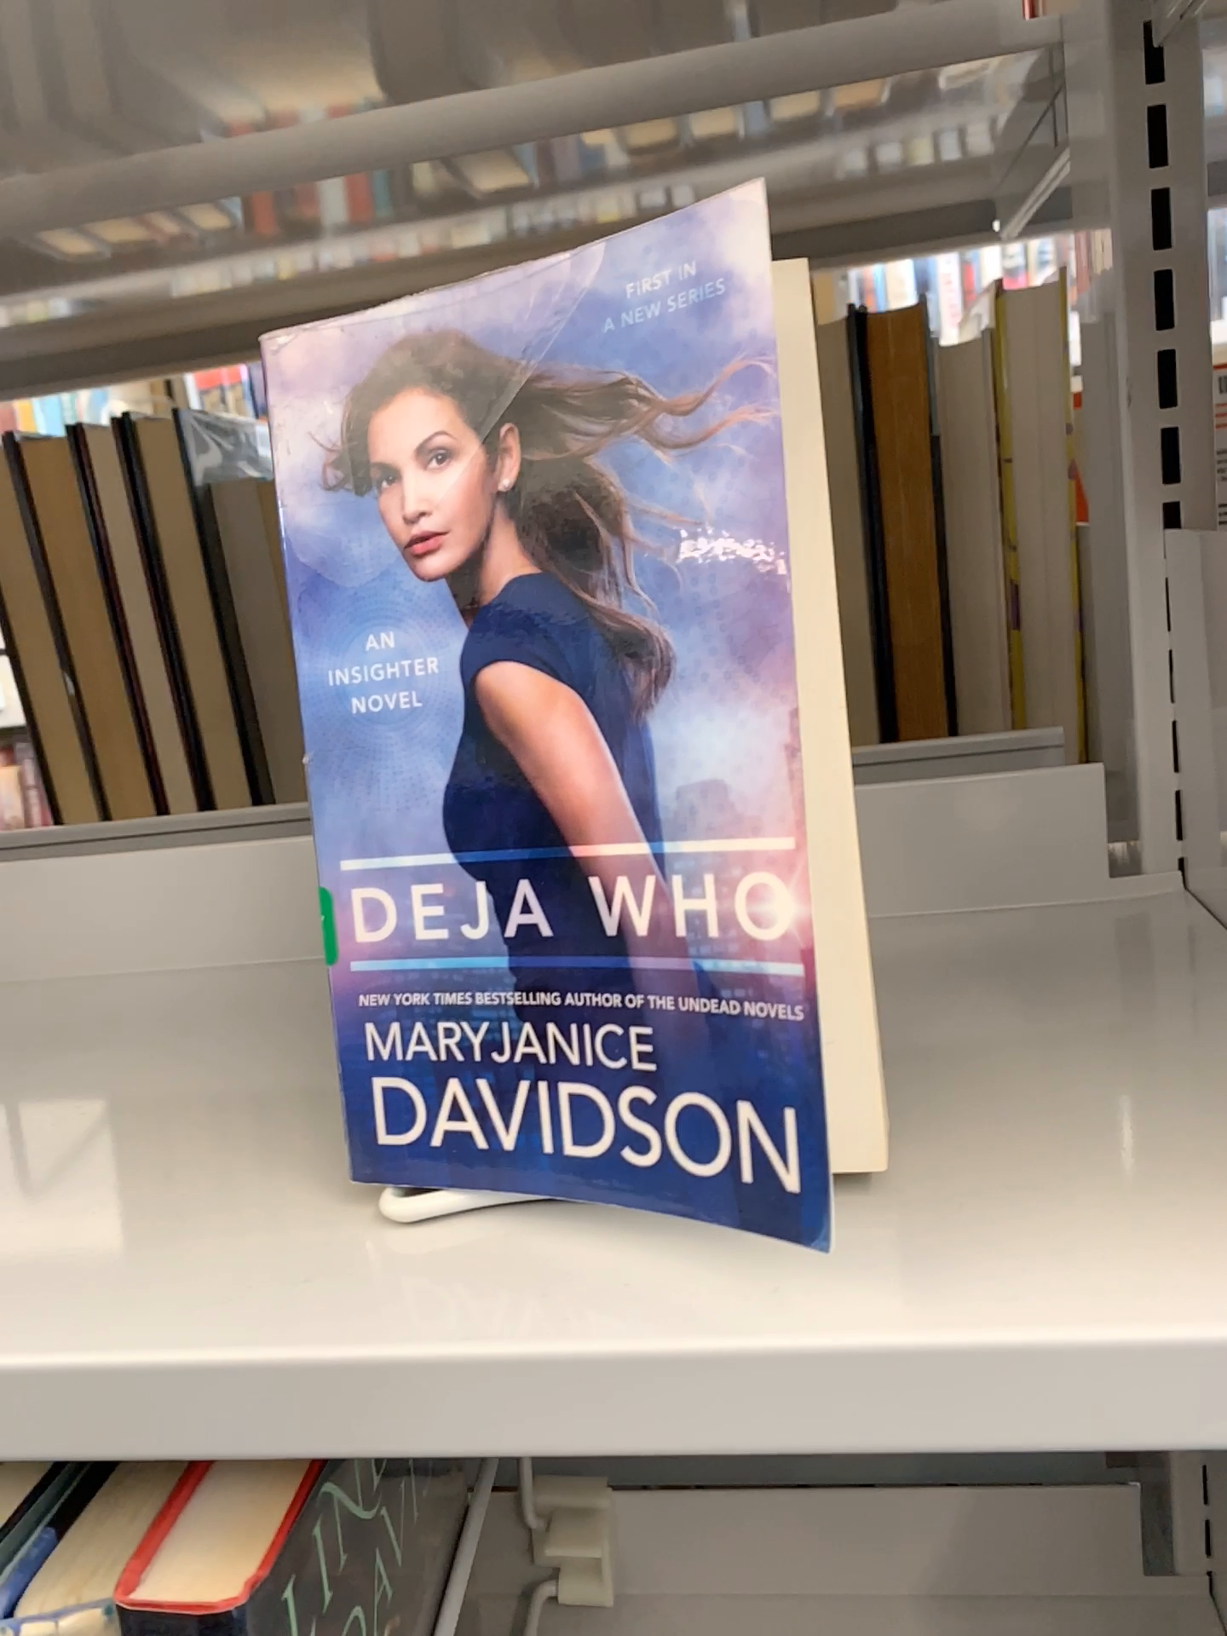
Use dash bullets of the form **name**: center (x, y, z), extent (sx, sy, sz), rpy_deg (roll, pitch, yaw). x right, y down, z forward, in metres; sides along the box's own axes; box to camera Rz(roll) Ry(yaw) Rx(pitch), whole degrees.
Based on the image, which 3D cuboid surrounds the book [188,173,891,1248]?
- **book**: center (-0.018, -0.017, 0.274), extent (0.136, 0.190, 0.047), rpy_deg (-3, 0, 25)
